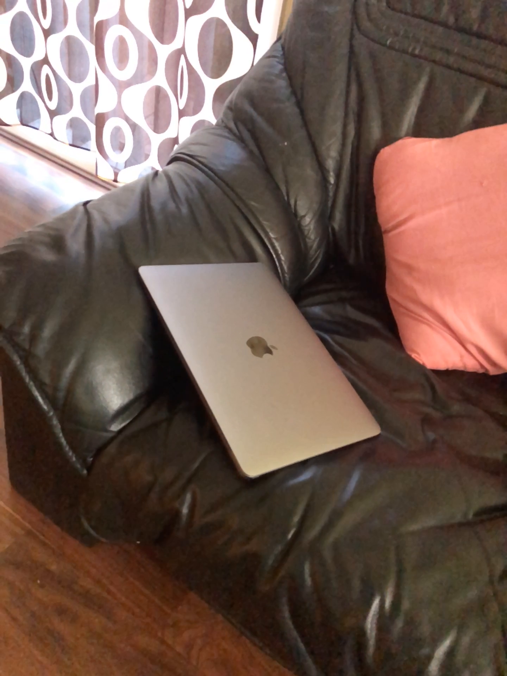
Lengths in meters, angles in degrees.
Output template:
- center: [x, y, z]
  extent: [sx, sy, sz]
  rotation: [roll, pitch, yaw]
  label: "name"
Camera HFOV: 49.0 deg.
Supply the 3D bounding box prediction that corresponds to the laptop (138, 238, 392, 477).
- center: [0.009, -0.002, 0.595]
  extent: [0.185, 0.036, 0.265]
  rotation: [-7, 53, -39]
  label: "laptop"
